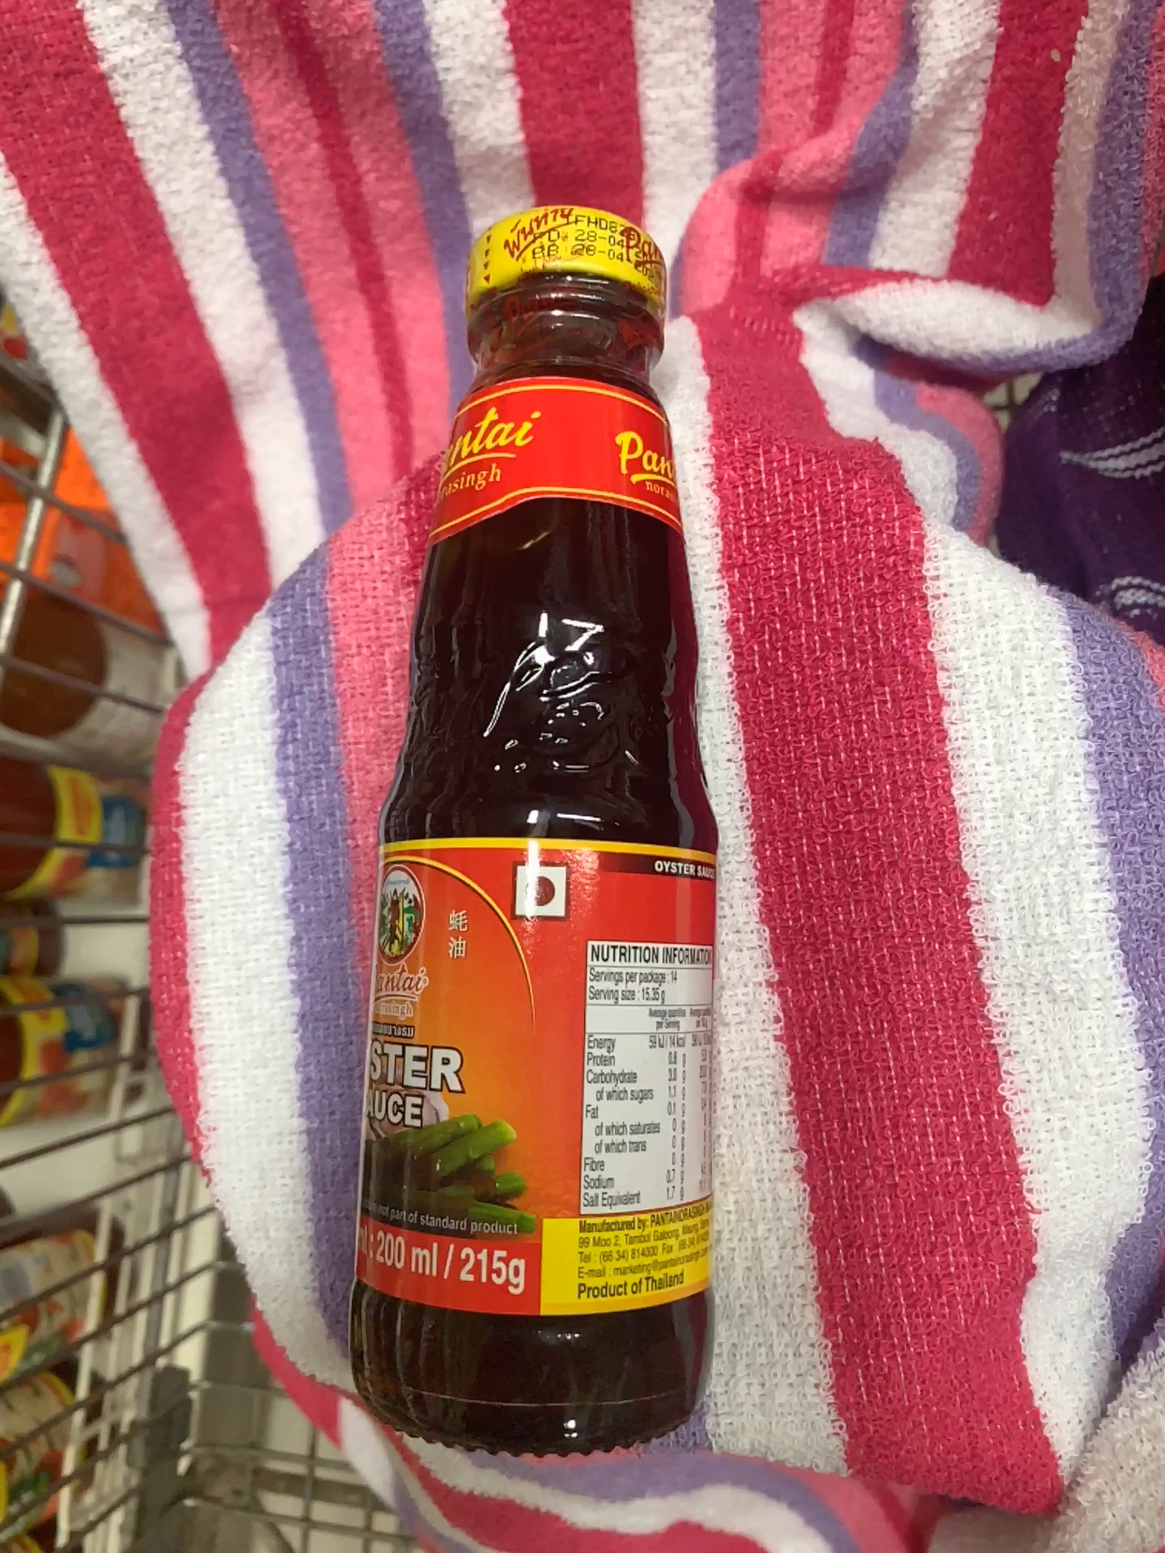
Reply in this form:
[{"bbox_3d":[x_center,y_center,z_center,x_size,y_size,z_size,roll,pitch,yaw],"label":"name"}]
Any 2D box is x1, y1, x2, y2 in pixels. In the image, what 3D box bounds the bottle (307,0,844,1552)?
[{"bbox_3d":[0.001,-0.004,0.180,0.050,0.050,0.190,-9,75,52],"label":"bottle"}]
